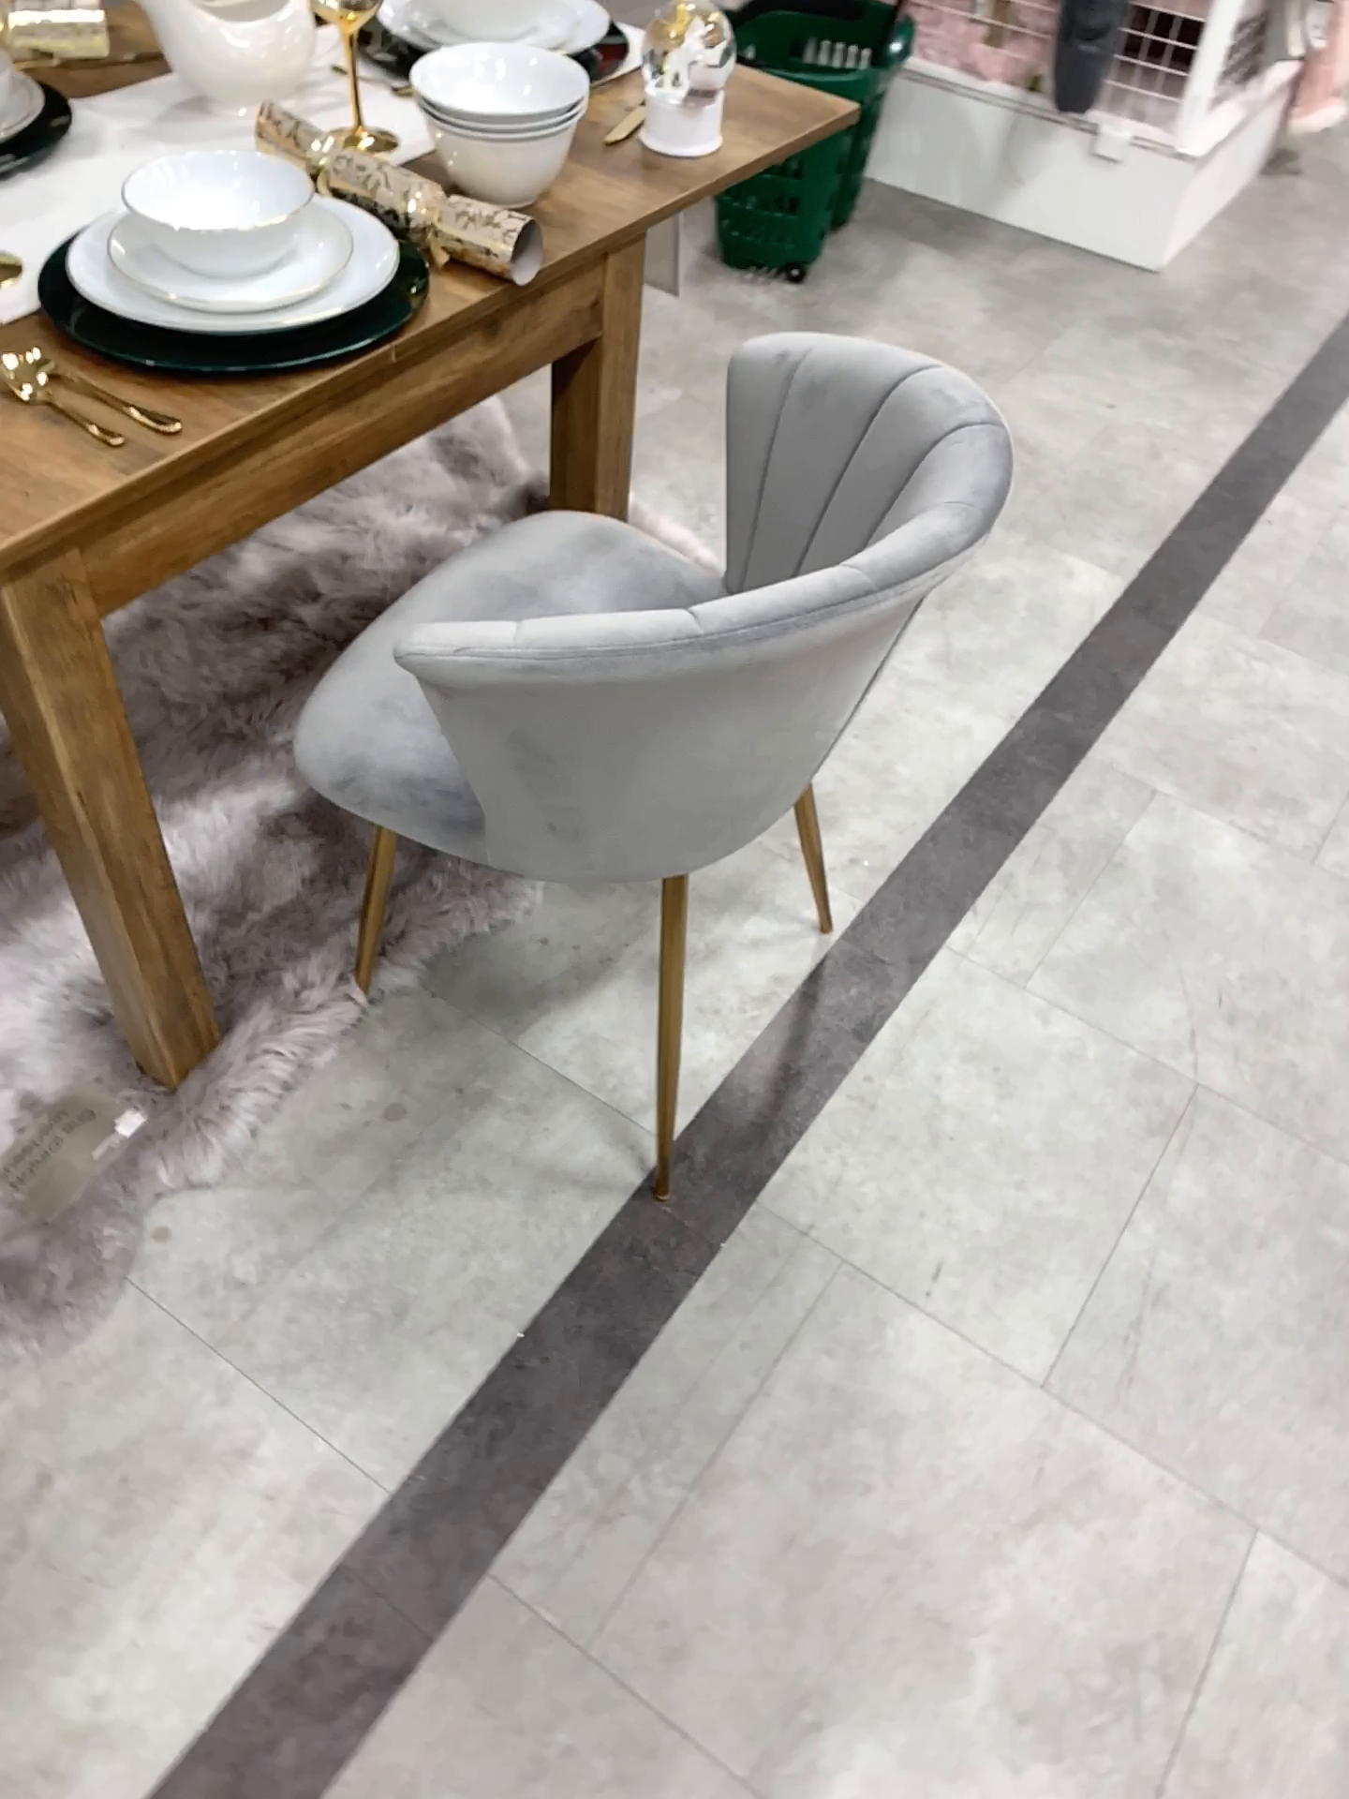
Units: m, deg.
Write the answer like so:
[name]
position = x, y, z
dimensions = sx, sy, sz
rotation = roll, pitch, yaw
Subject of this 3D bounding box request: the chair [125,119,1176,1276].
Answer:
[chair]
position = 0.000, -0.193, 1.301
dimensions = 0.551, 0.709, 0.635
rotation = 25, 51, 16
